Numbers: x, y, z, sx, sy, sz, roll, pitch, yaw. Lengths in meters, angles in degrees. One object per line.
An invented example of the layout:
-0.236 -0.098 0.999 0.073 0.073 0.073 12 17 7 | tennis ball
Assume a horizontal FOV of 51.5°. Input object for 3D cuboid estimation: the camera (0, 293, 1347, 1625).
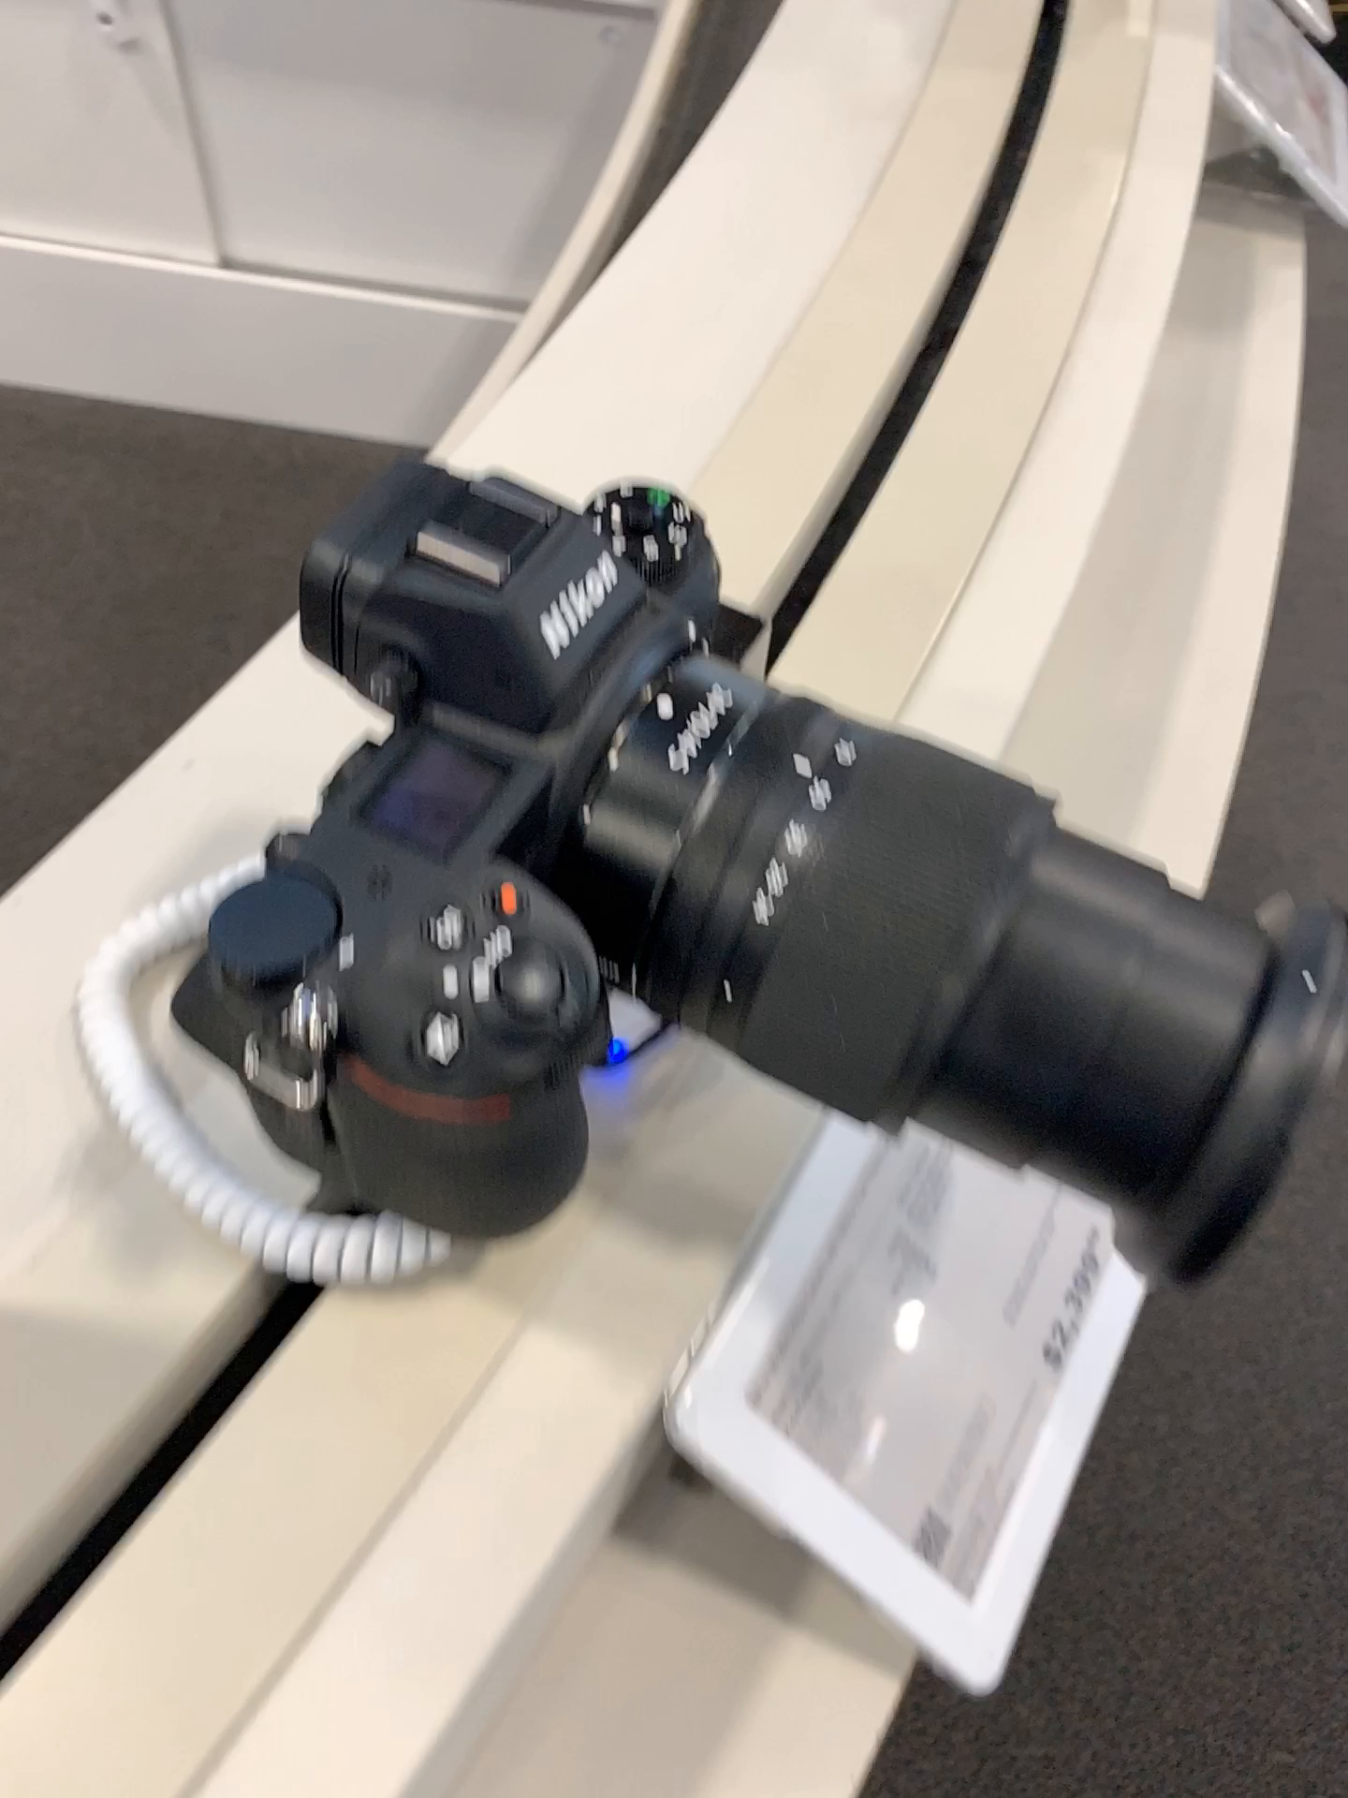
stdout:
0.013 0.002 0.257 0.210 0.100 0.140 25 58 13 | camera
